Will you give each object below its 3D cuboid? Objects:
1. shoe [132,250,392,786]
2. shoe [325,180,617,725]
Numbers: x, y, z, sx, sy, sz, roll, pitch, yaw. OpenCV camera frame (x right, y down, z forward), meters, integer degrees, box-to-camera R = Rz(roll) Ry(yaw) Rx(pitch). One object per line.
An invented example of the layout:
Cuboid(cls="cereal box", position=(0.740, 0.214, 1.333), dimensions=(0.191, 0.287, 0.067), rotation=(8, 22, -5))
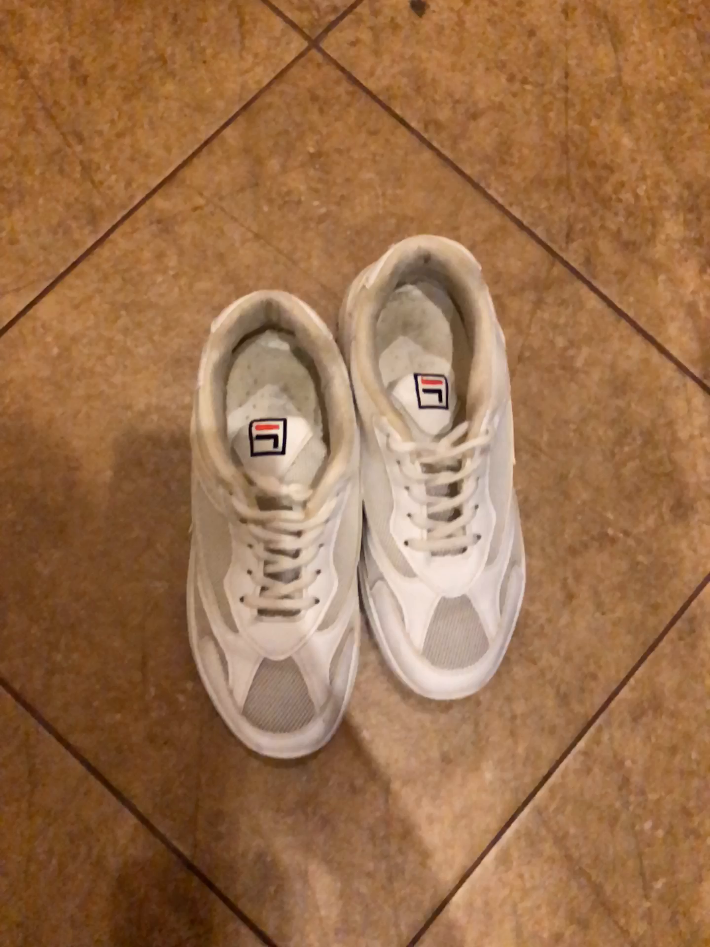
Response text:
Cuboid(cls="shoe", position=(-0.048, 0.021, 0.413), dimensions=(0.110, 0.110, 0.240), rotation=(-2, 82, -4))
Cuboid(cls="shoe", position=(0.049, -0.009, 0.420), dimensions=(0.110, 0.110, 0.250), rotation=(-4, 82, -4))
